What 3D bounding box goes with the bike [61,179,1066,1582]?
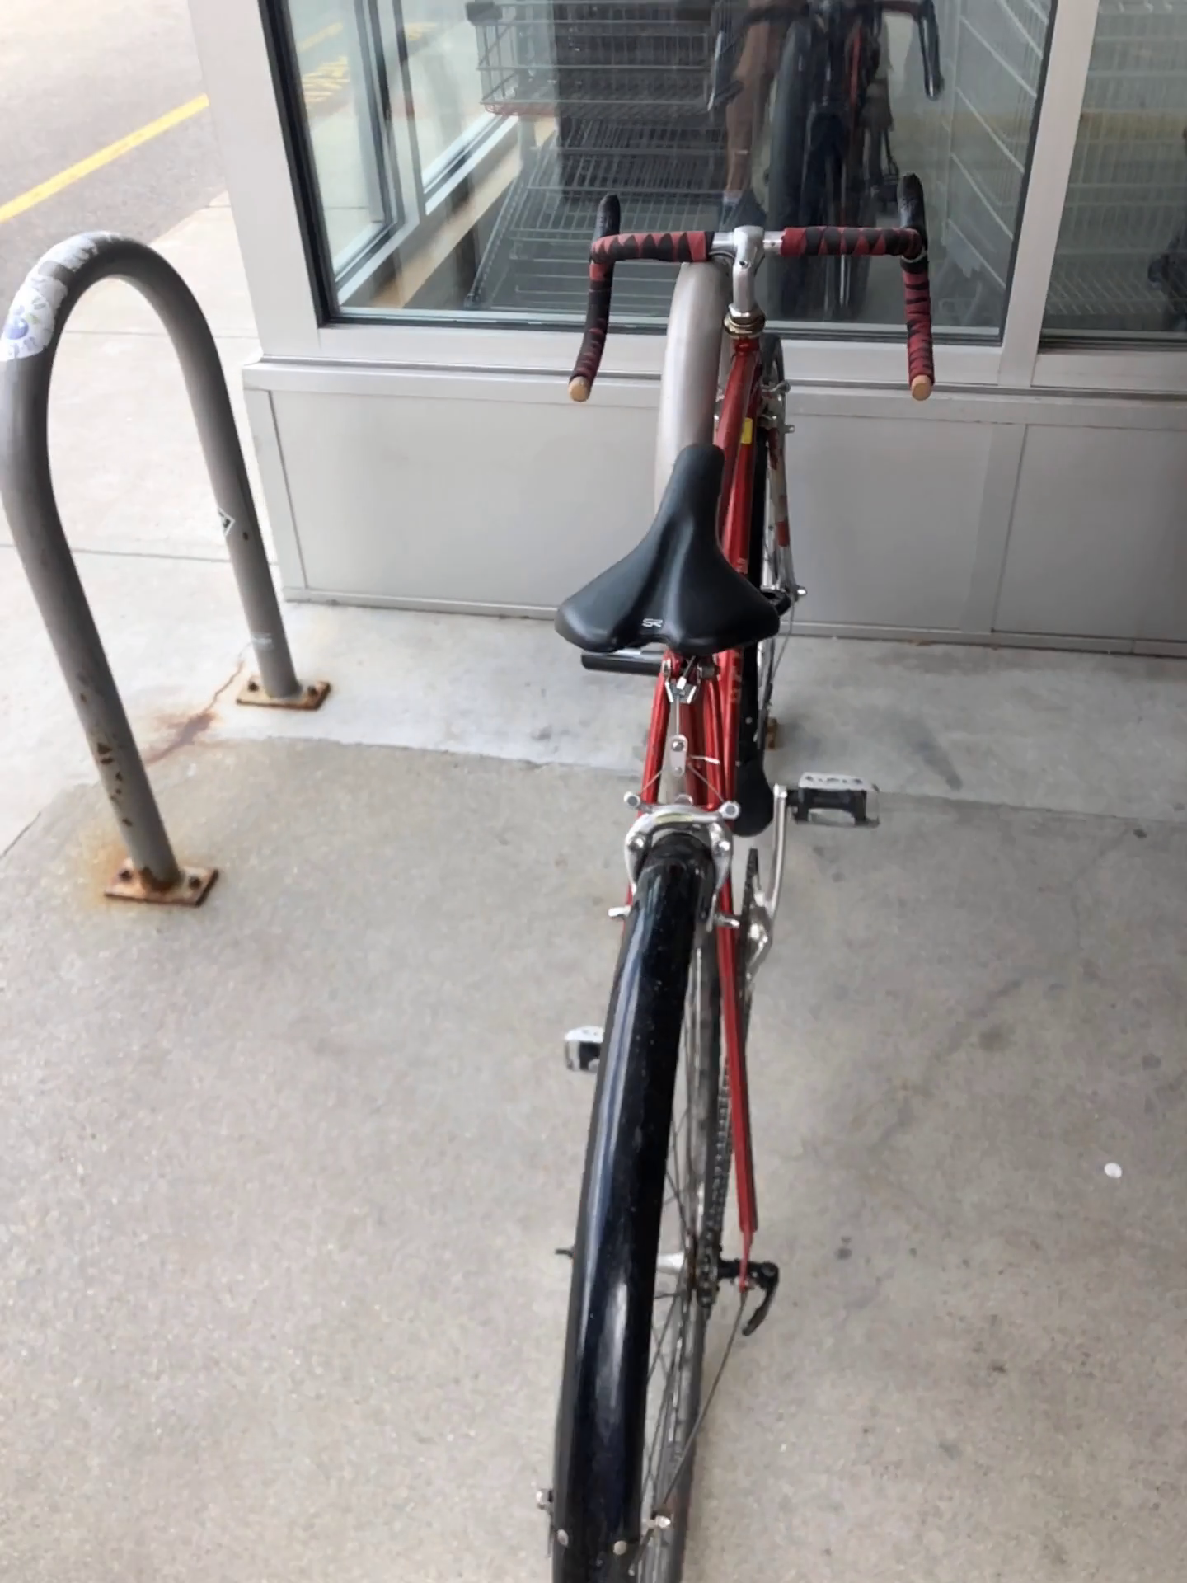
[{"bbox_3d":[0.130,0.027,1.449,0.458,0.787,1.700,4,43,9],"label":"bike"}]
